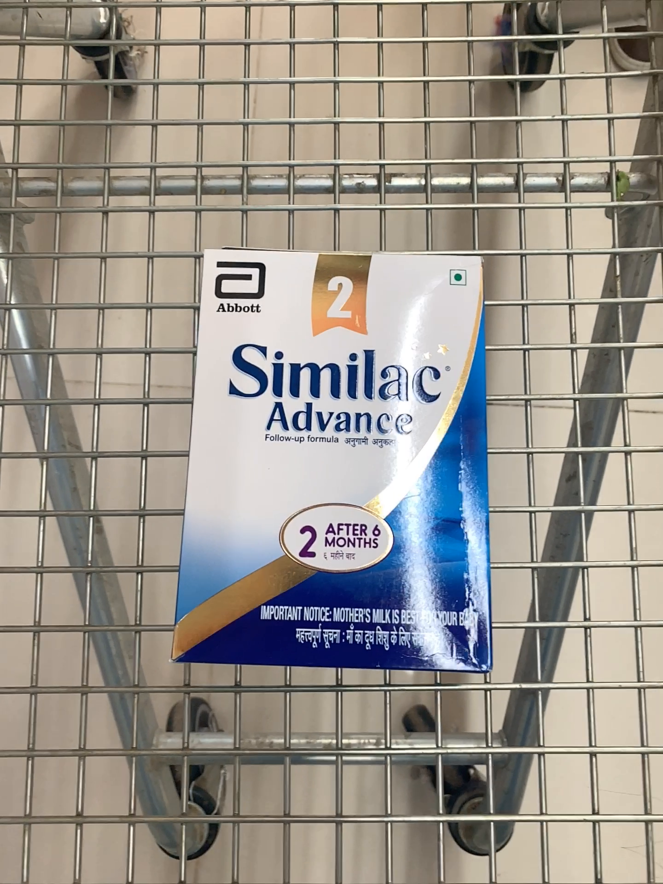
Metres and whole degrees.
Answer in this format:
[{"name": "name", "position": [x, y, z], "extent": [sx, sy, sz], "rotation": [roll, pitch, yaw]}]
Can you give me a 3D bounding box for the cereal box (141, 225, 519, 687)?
[{"name": "cereal box", "position": [0.002, 0.005, 0.323], "extent": [0.150, 0.060, 0.200], "rotation": [2, 76, 1]}]
